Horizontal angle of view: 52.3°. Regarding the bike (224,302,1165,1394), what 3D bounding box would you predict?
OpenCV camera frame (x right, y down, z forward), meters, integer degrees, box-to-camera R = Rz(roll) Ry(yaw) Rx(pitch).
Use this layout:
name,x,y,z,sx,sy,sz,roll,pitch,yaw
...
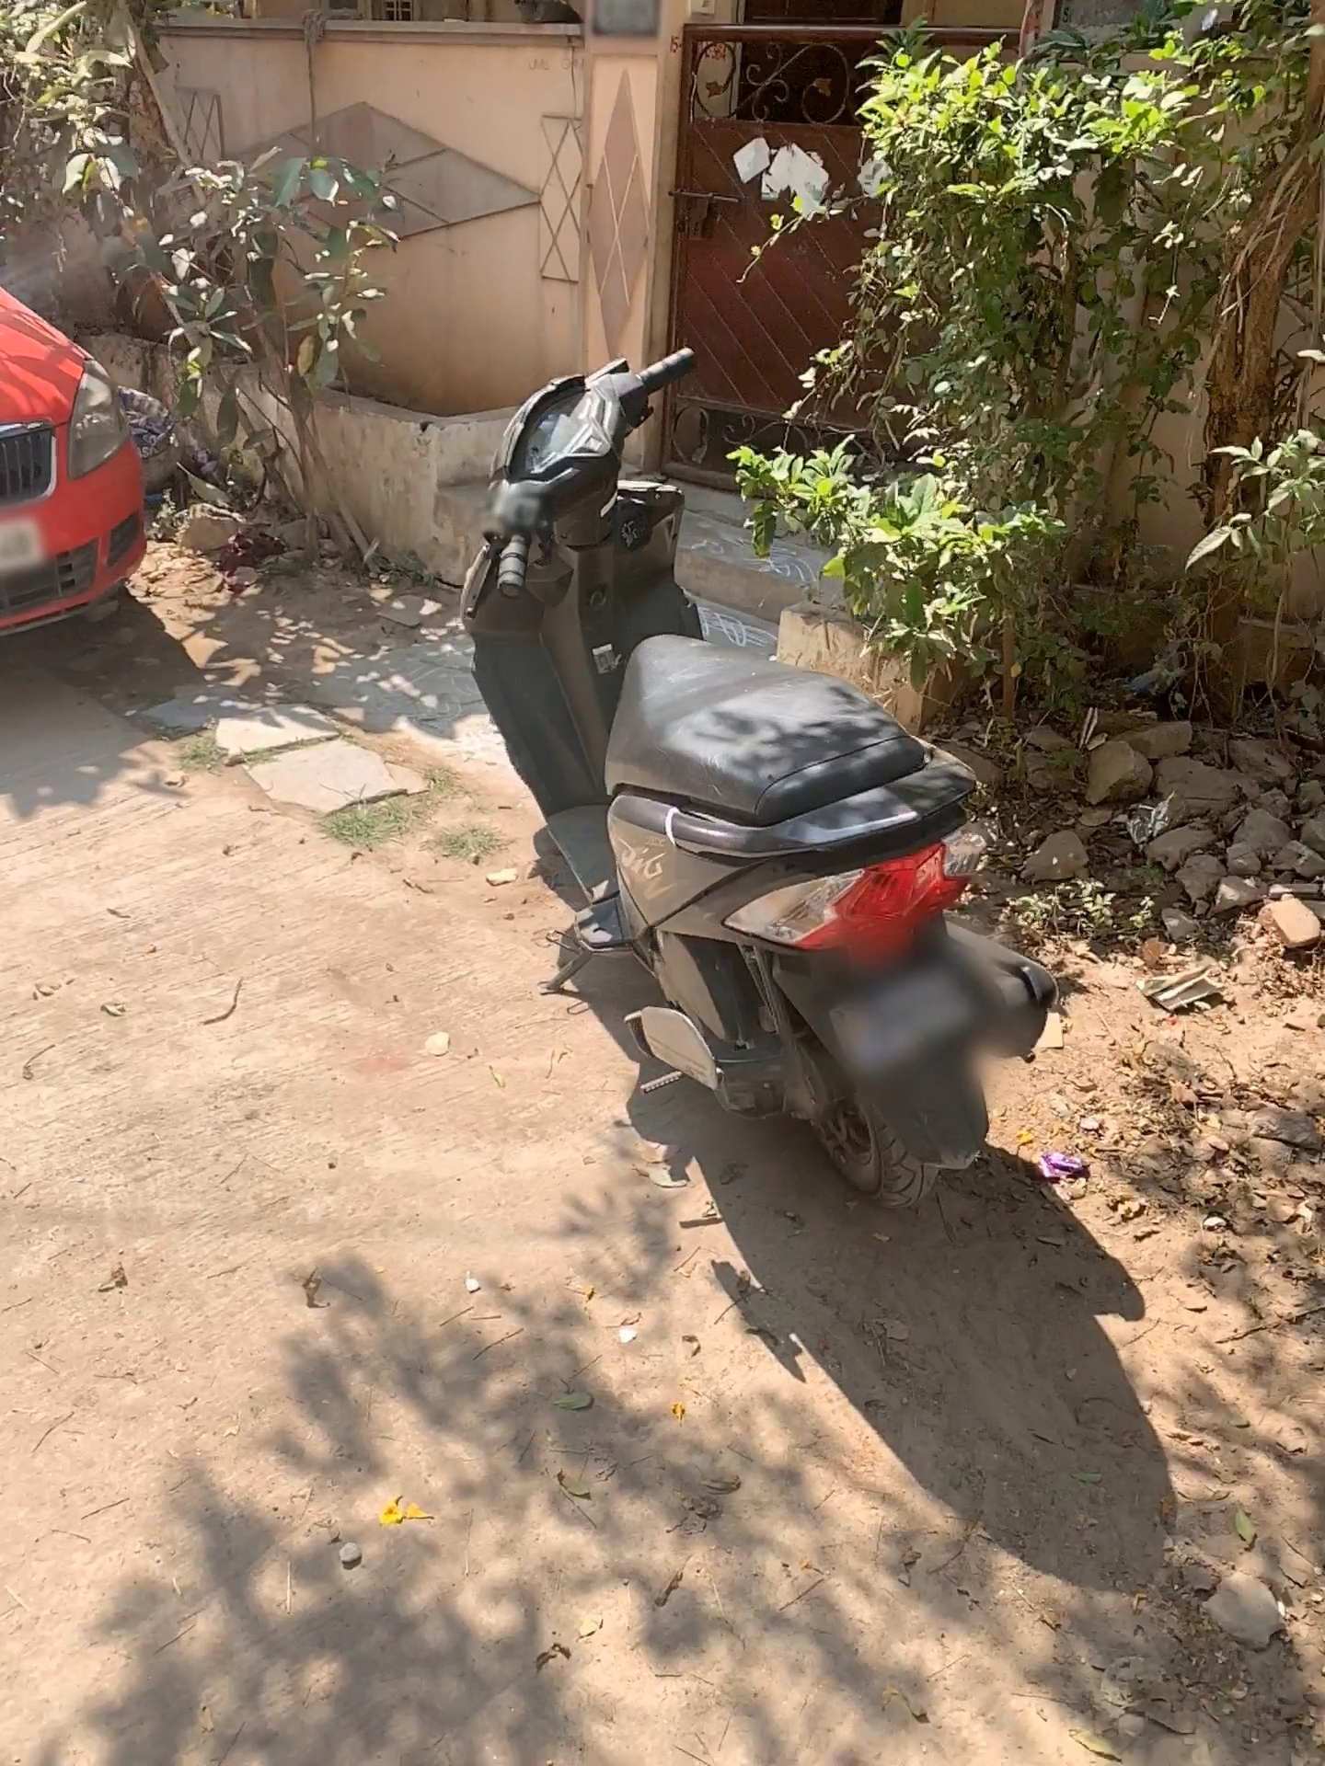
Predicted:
name,x,y,z,sx,sy,sz,roll,pitch,yaw
bike,-0.141,-0.214,2.246,0.624,1.175,1.533,-12,33,-27
